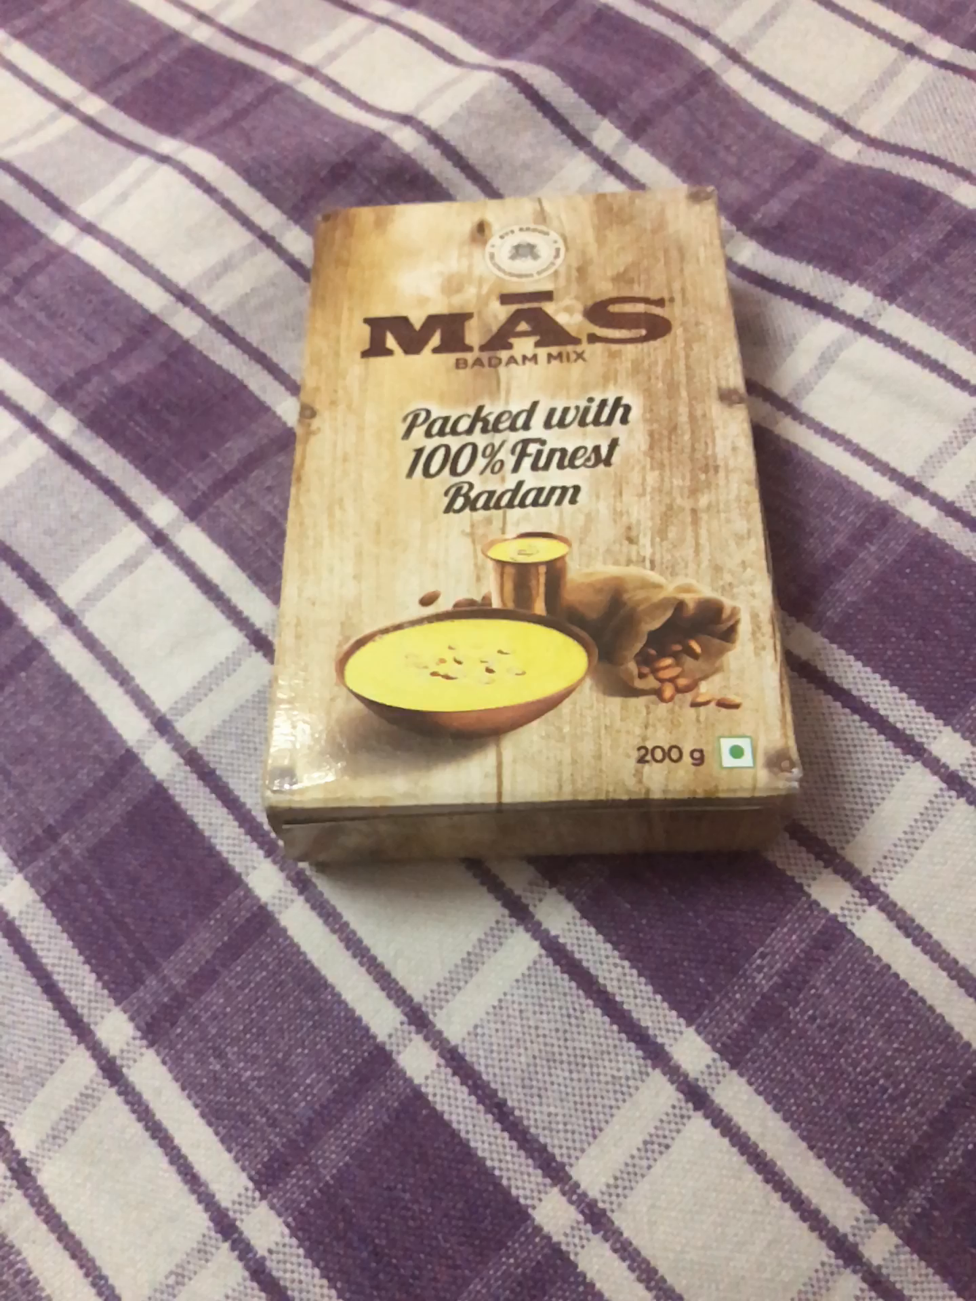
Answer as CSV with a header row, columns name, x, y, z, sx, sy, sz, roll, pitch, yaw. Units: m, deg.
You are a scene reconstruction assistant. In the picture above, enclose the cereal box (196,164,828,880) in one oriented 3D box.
name,x,y,z,sx,sy,sz,roll,pitch,yaw
cereal box,0.004,-0.027,0.198,0.090,0.030,0.130,-2,63,5
